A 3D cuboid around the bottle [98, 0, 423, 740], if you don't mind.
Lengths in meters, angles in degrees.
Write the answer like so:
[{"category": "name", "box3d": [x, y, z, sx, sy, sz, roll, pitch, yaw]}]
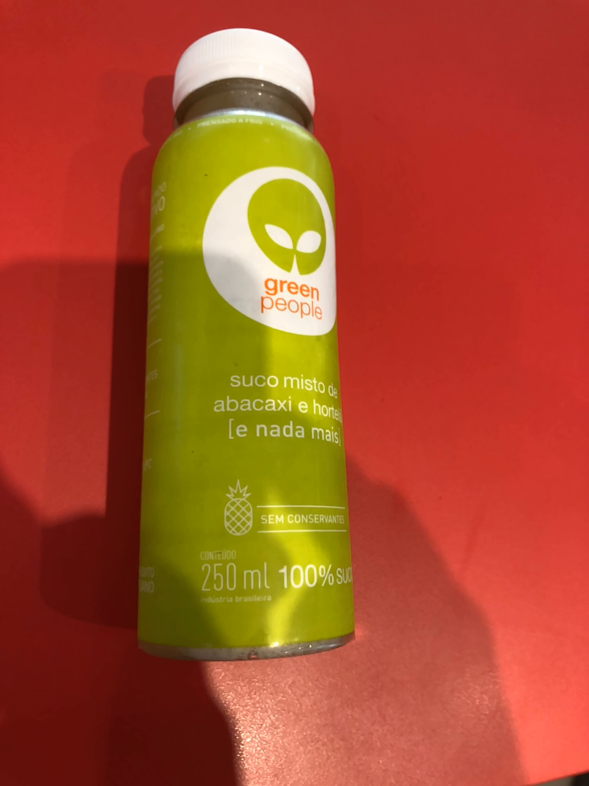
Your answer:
[{"category": "bottle", "box3d": [-0.011, -0.017, 0.168, 0.060, 0.050, 0.170, 4, 81, -31]}]
